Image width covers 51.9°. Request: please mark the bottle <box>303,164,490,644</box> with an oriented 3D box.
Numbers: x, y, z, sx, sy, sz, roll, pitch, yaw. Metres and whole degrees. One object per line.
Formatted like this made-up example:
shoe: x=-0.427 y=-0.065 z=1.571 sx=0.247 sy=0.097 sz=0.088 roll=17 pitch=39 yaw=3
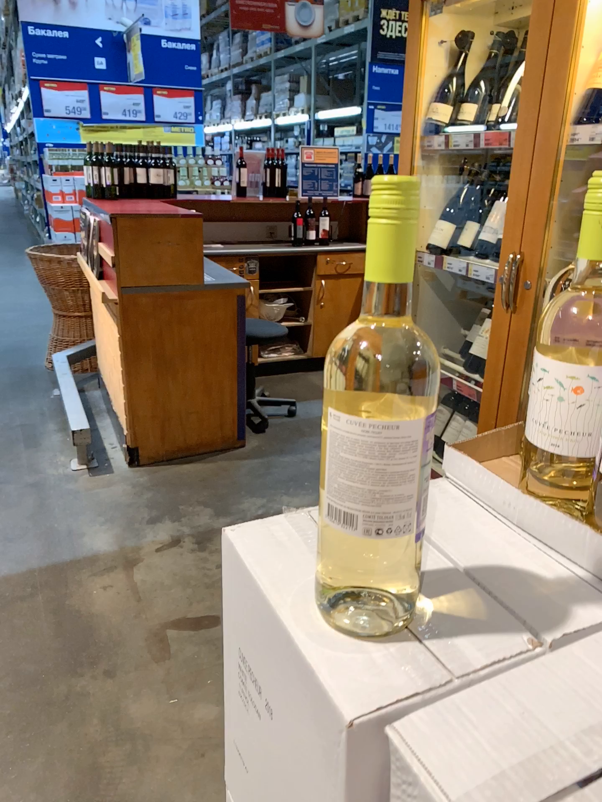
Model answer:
bottle: x=0.051 y=0.005 z=0.409 sx=0.090 sy=0.299 sz=0.090 roll=1 pitch=19 yaw=0
